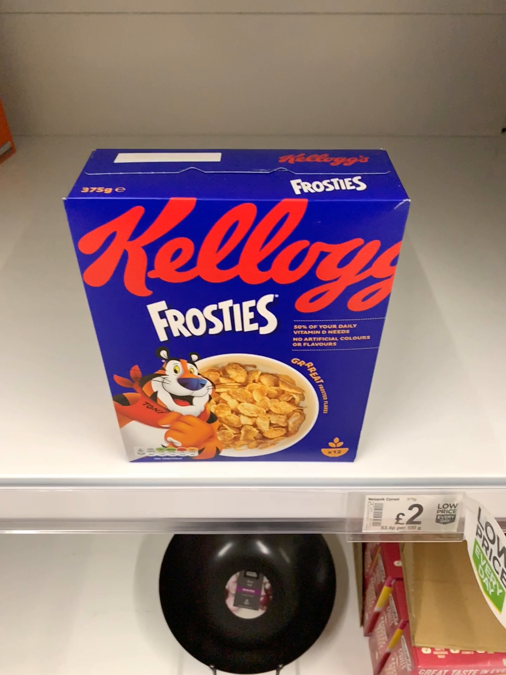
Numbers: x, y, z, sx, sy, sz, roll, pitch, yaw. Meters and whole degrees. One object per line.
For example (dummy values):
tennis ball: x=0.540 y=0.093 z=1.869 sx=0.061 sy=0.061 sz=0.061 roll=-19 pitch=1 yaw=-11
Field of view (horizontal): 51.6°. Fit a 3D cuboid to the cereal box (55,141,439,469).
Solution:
cereal box: x=-0.003 y=-0.008 z=0.381 sx=0.200 sy=0.238 sz=0.081 roll=0 pitch=41 yaw=0
